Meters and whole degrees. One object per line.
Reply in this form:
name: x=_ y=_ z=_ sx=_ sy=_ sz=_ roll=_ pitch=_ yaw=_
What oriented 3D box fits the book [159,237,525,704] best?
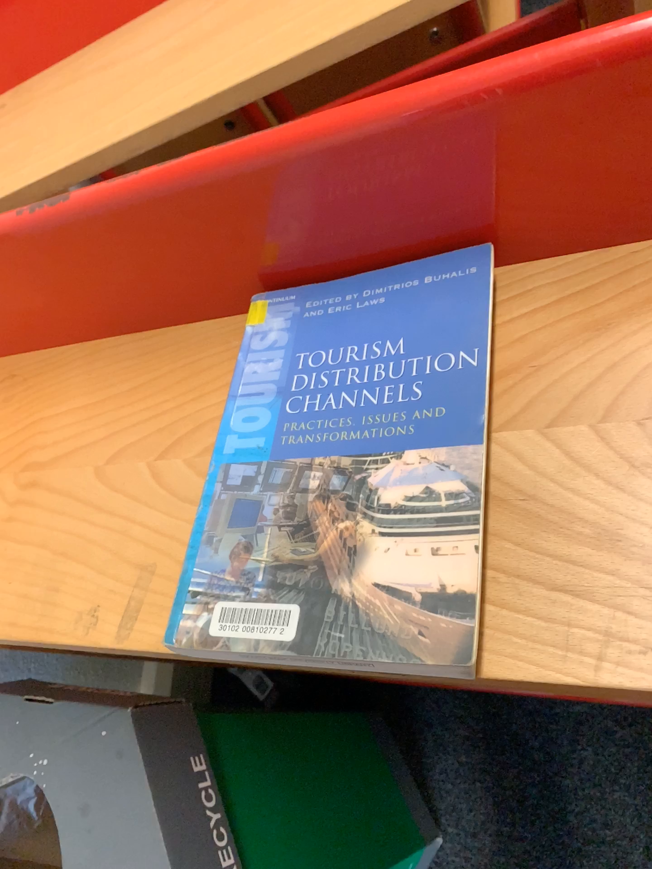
book: x=0.017 y=0.008 z=0.363 sx=0.168 sy=0.031 sz=0.239 roll=-4 pitch=59 yaw=25
